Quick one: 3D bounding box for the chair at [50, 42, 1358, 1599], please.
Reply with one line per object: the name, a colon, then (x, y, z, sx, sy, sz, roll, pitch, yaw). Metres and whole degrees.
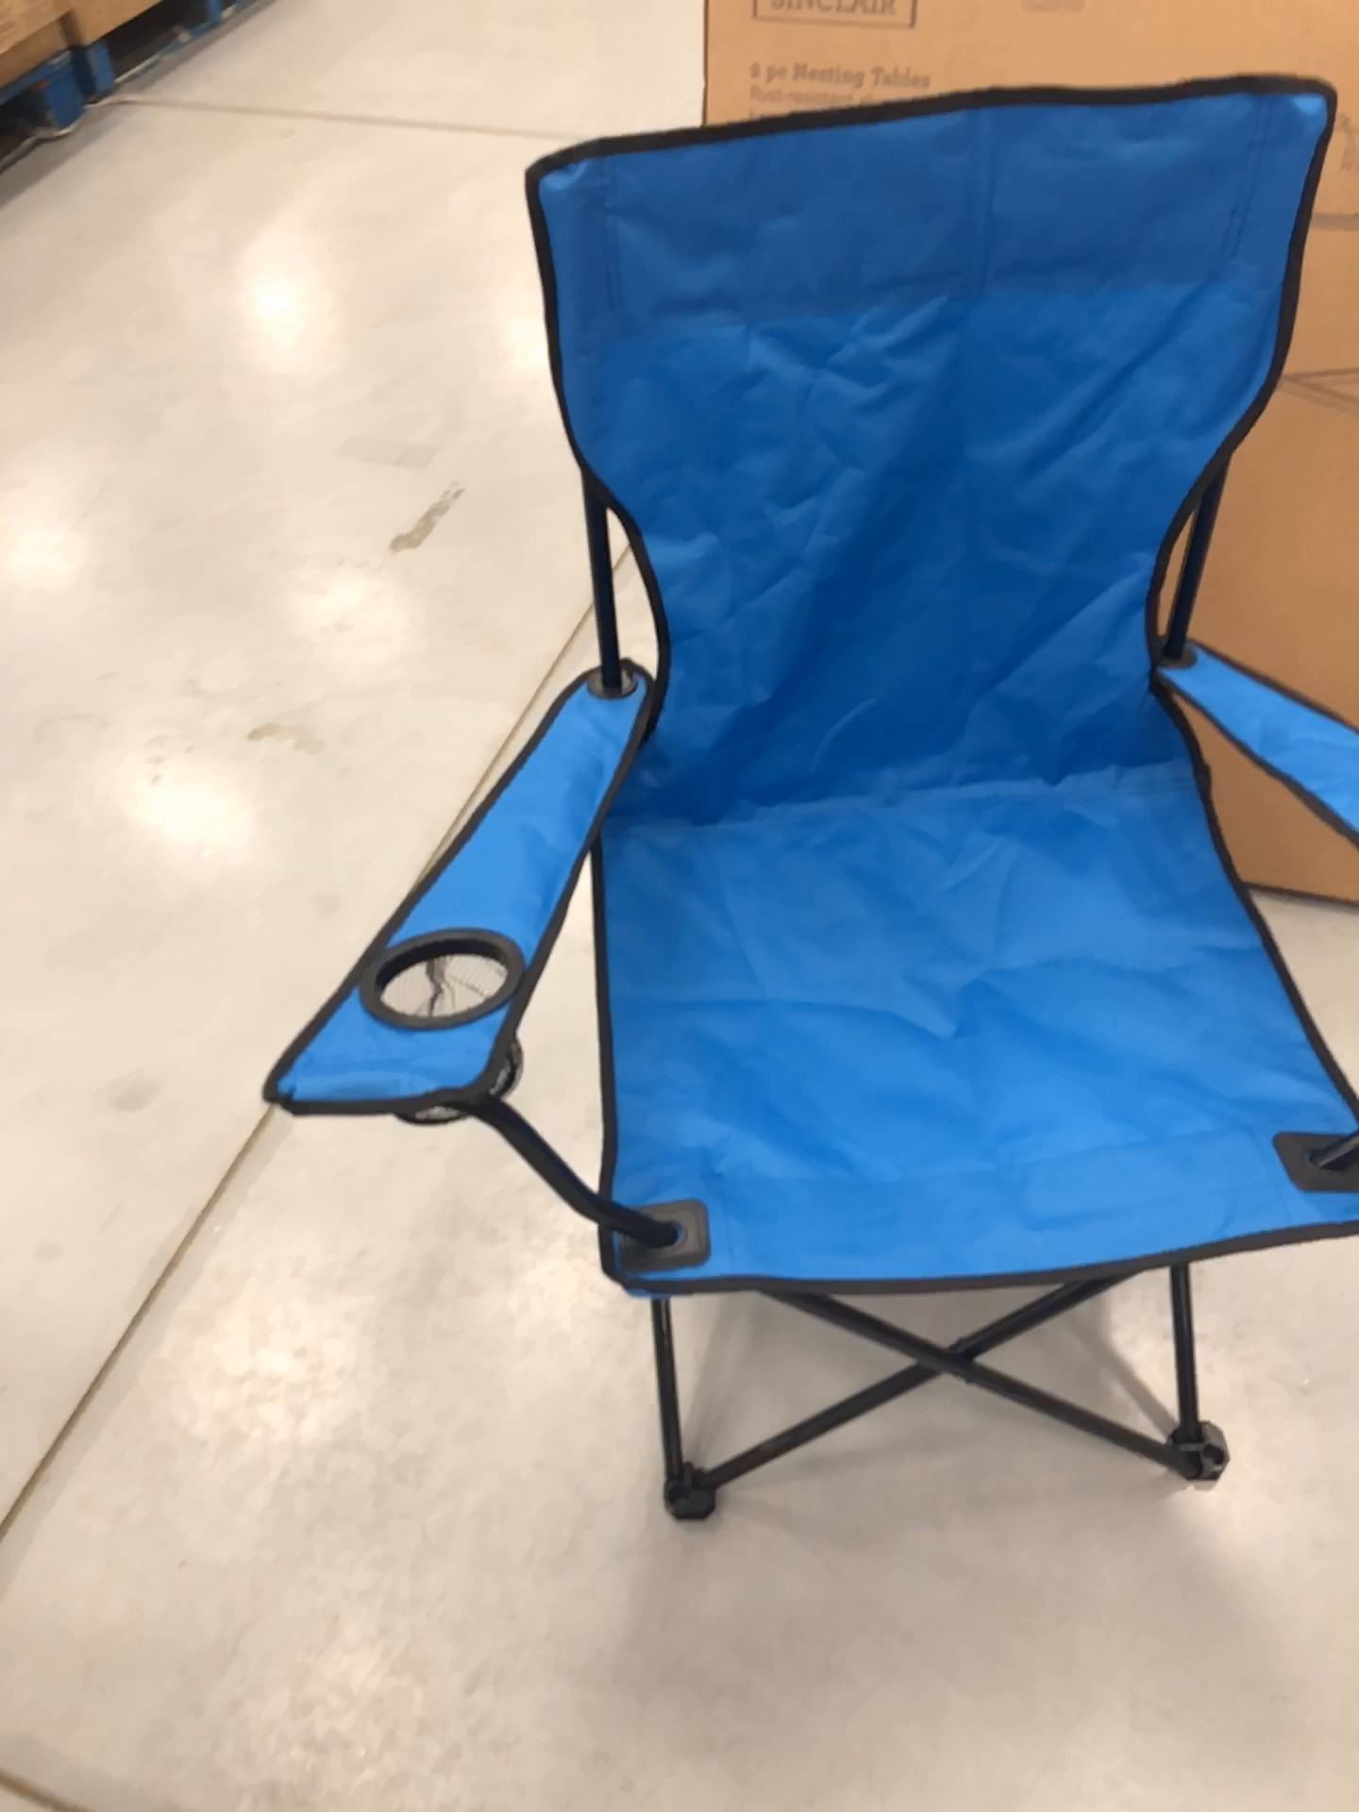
chair: (0.169, -0.010, 1.049, 0.790, 0.837, 0.622, -5, 48, -1)
